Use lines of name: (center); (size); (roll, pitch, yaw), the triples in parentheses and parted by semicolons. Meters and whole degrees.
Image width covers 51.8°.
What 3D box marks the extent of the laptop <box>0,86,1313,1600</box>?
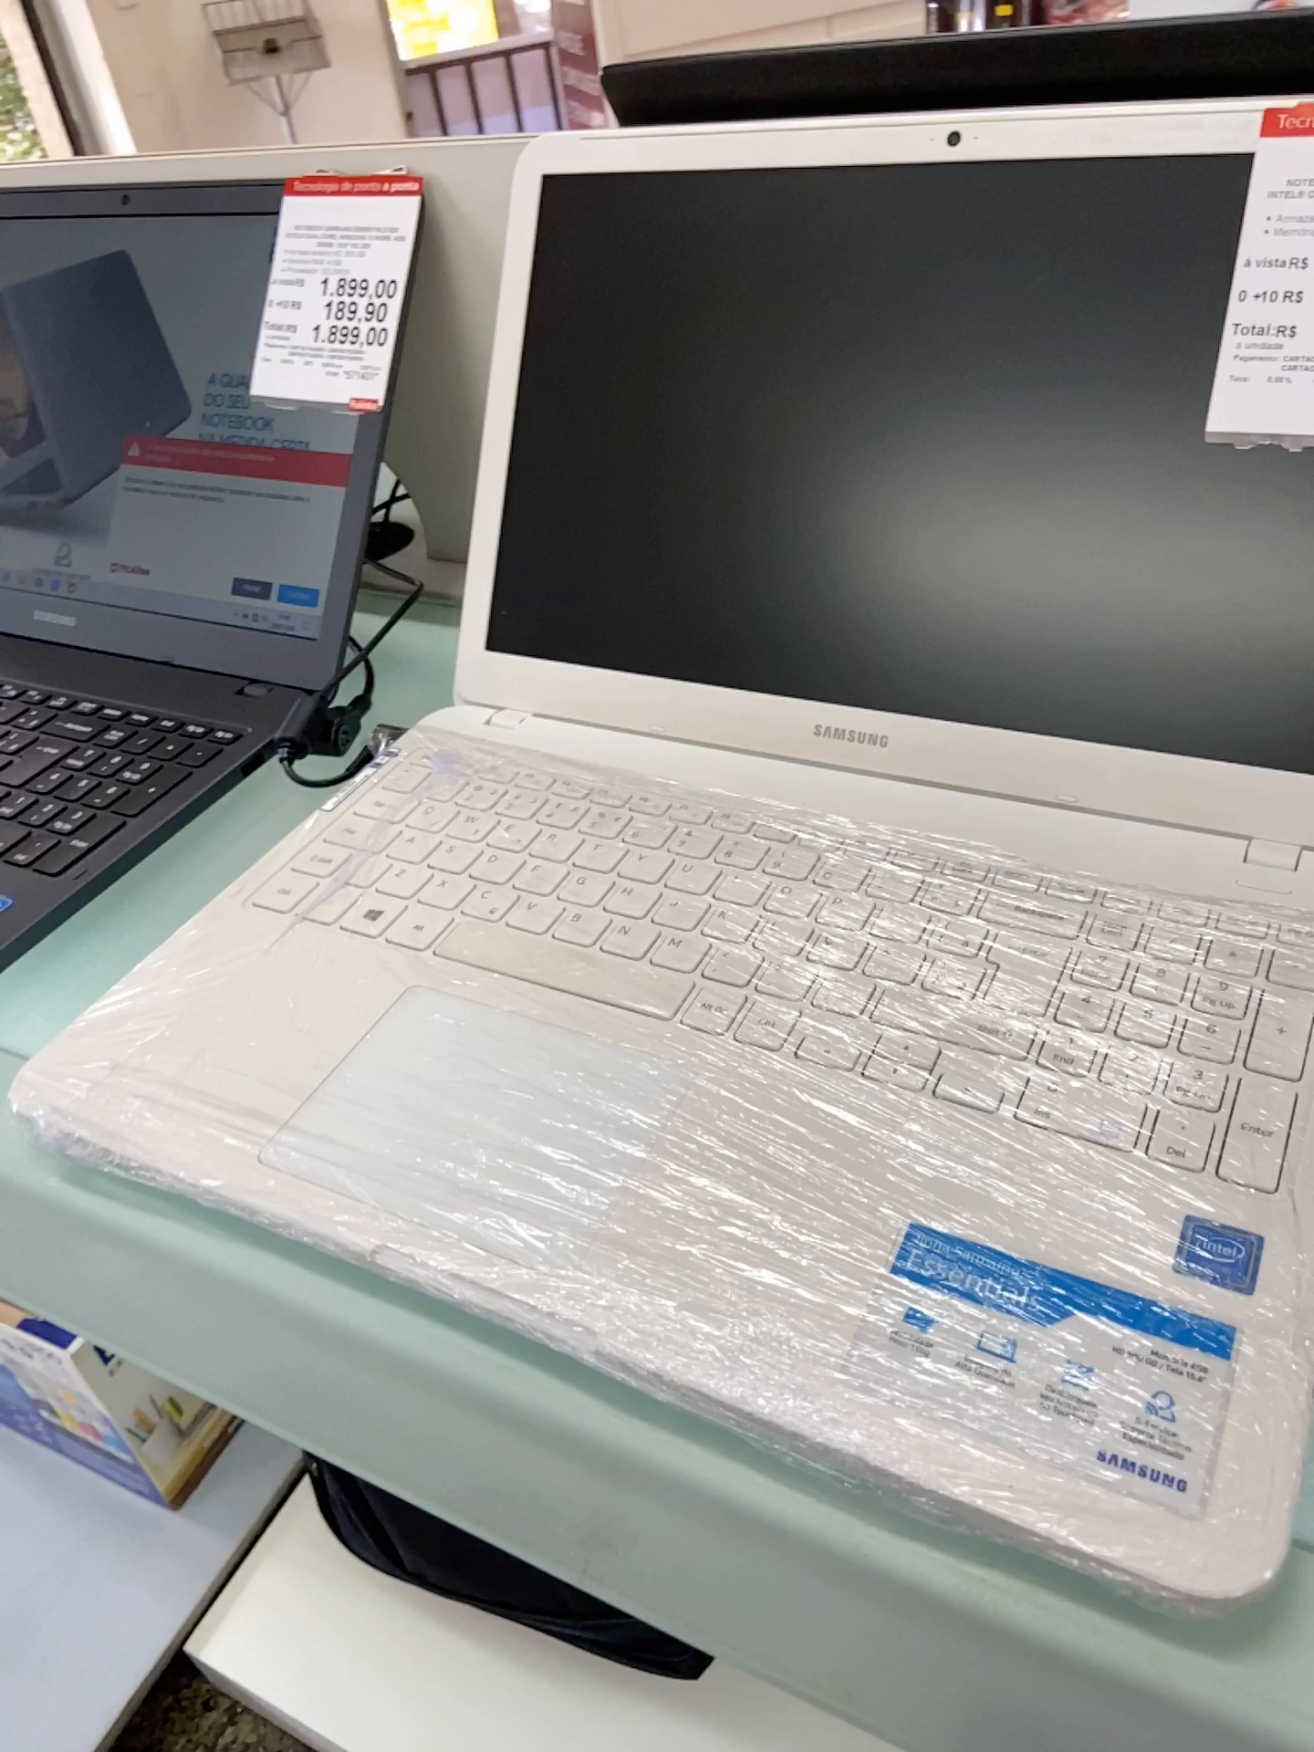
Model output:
laptop: (0.033, -0.082, 0.421); (0.376, 0.192, 0.382); (13, 43, 26)
